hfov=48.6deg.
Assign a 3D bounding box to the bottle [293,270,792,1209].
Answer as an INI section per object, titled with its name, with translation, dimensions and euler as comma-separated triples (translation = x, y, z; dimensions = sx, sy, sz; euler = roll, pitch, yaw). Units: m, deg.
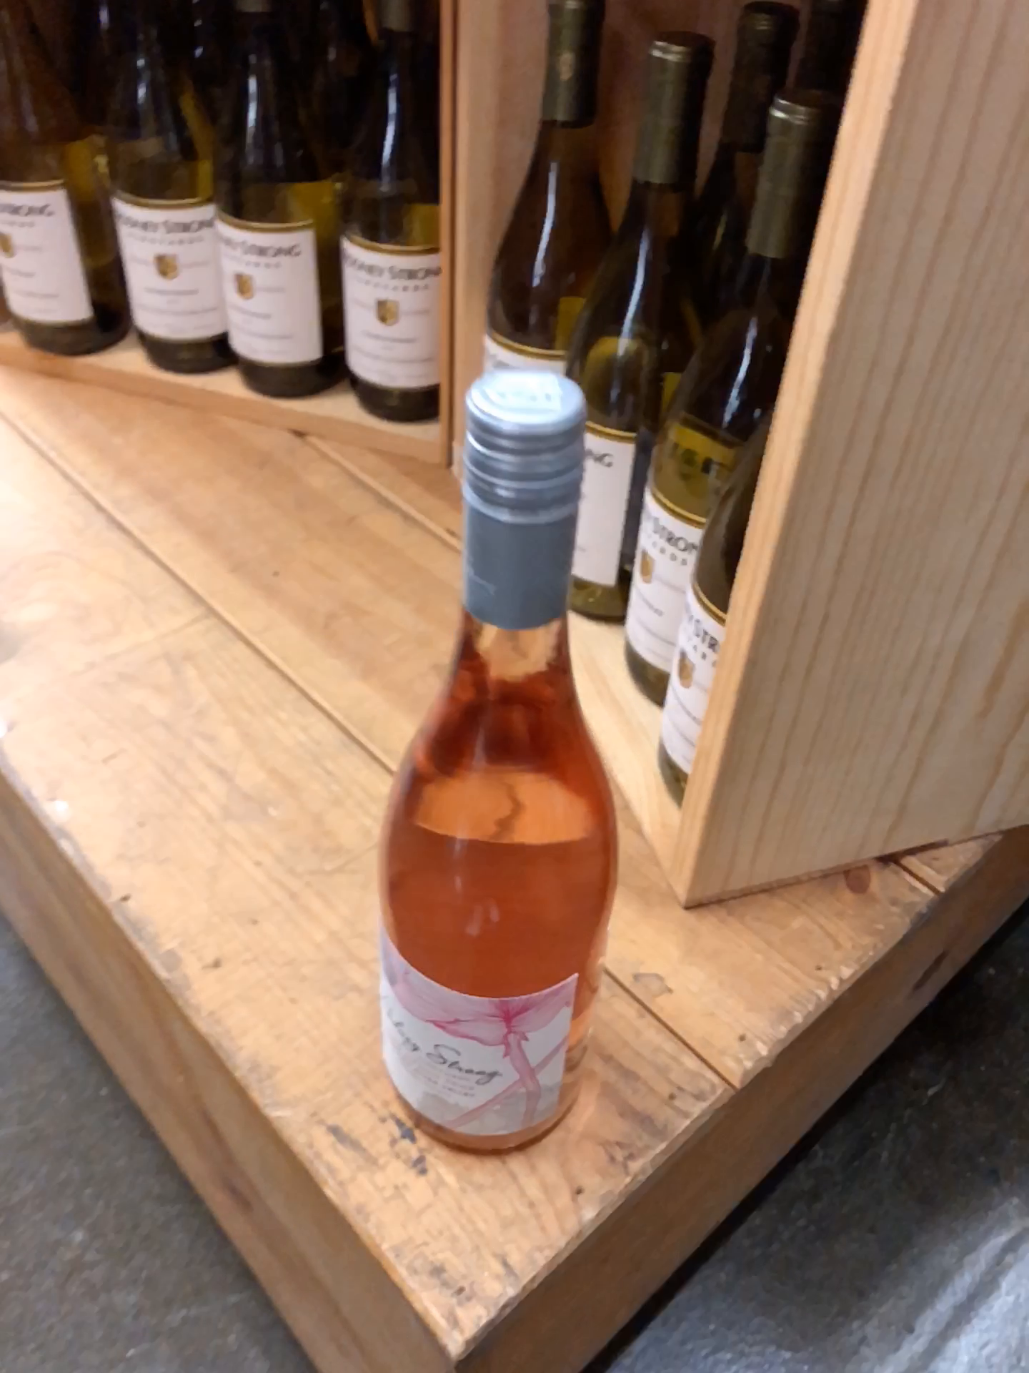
[bottle]
translation = 0.000, 0.043, 0.362
dimensions = 0.080, 0.309, 0.082
euler = 2, 43, -2
